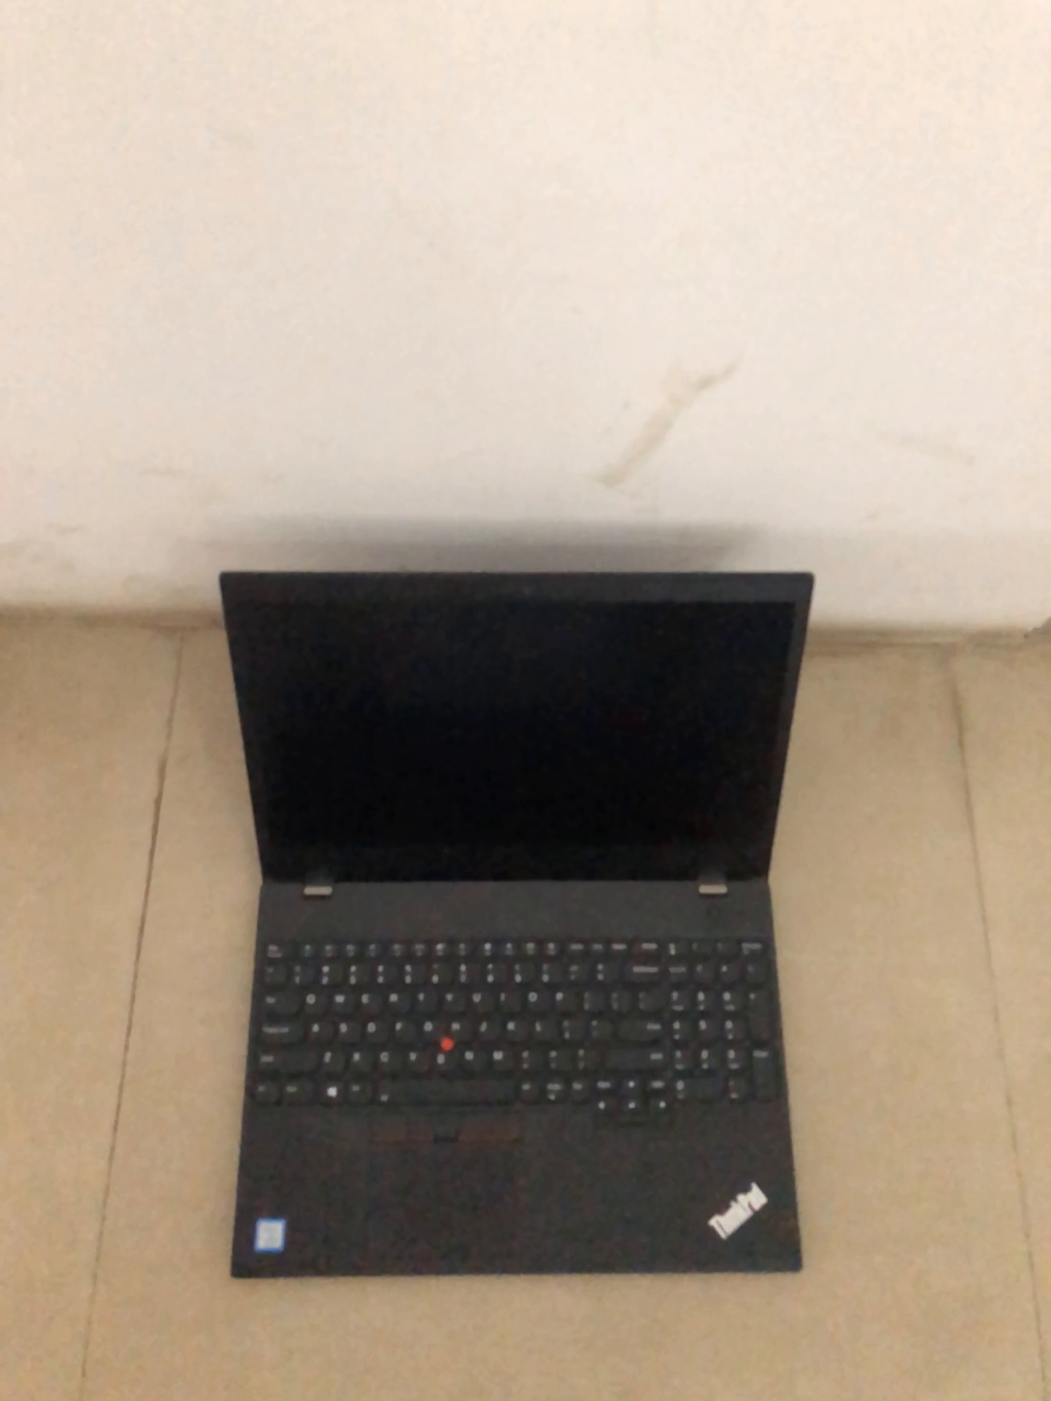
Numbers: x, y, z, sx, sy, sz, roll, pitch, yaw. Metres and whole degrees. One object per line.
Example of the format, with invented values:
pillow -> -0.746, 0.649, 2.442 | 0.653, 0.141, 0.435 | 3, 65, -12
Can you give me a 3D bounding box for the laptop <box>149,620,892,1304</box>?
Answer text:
laptop -> -0.008, 0.149, 0.702 | 0.344, 0.193, 0.363 | 0, 64, -3
